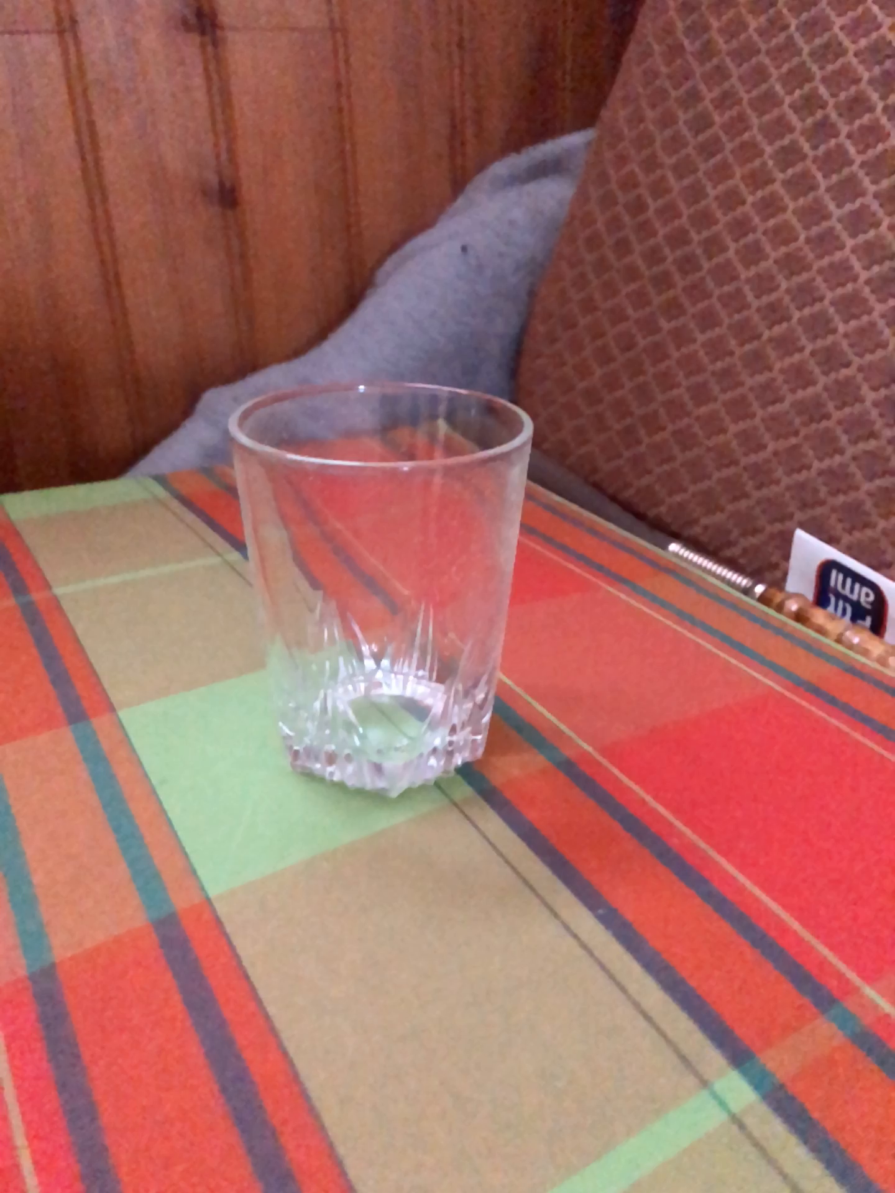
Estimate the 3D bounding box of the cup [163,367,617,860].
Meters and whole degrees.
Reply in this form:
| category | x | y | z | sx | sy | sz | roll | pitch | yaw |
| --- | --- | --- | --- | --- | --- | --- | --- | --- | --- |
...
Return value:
| category | x | y | z | sx | sy | sz | roll | pitch | yaw |
| --- | --- | --- | --- | --- | --- | --- | --- | --- | --- |
| cup | -0.010 | -0.003 | 0.234 | 0.070 | 0.080 | 0.070 | -2 | 26 | 1 |
